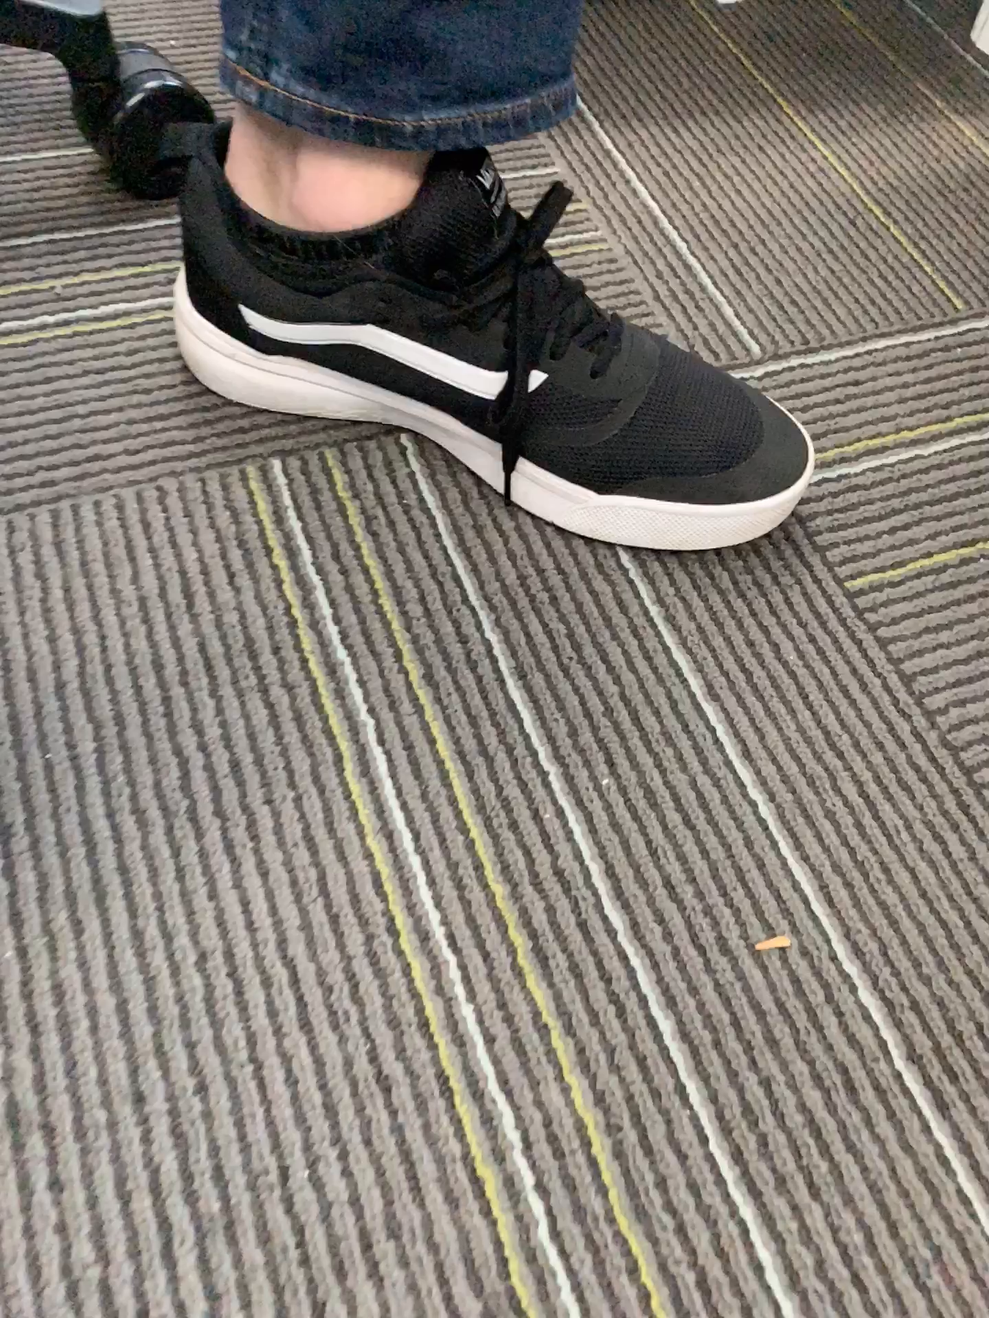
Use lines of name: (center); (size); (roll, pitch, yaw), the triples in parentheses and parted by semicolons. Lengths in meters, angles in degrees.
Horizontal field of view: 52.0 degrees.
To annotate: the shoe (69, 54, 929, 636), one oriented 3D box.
shoe: (0.003, -0.139, 0.447); (0.320, 0.110, 0.120); (19, 58, 6)
